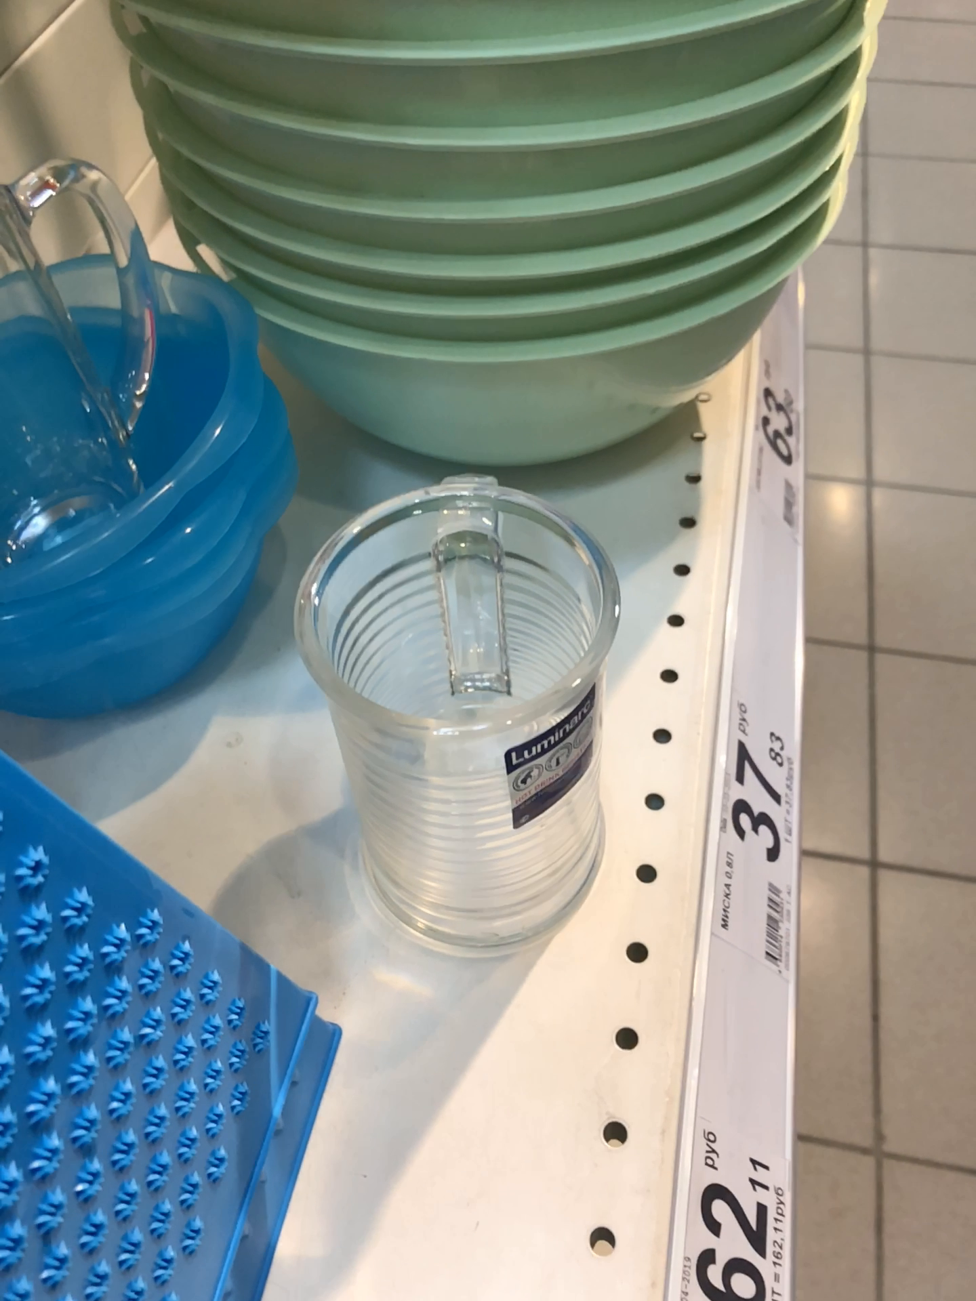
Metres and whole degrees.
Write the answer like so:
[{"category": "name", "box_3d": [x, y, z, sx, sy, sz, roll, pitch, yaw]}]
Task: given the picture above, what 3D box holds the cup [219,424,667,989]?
[{"category": "cup", "box_3d": [-0.003, 0.016, 0.290, 0.087, 0.104, 0.102, 5, 53, 7]}]
